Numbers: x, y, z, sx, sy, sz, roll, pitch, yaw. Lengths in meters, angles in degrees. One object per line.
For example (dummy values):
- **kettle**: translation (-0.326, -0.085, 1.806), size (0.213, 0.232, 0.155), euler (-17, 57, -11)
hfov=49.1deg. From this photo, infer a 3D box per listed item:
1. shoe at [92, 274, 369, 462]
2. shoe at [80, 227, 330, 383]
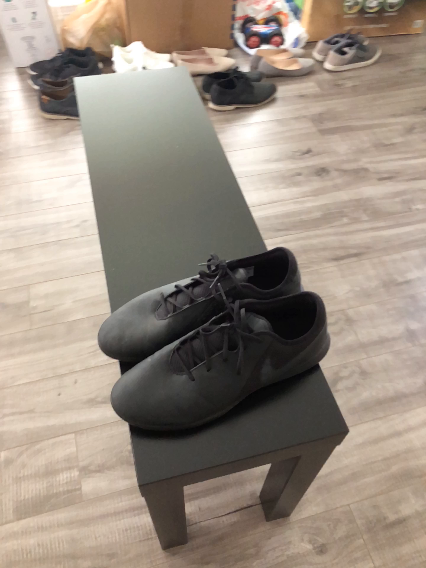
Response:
- **shoe**: translation (0.020, 0.097, 0.562), size (0.293, 0.110, 0.100), euler (-16, 54, -14)
- **shoe**: translation (-0.011, 0.025, 0.623), size (0.293, 0.110, 0.100), euler (-13, 53, -12)
